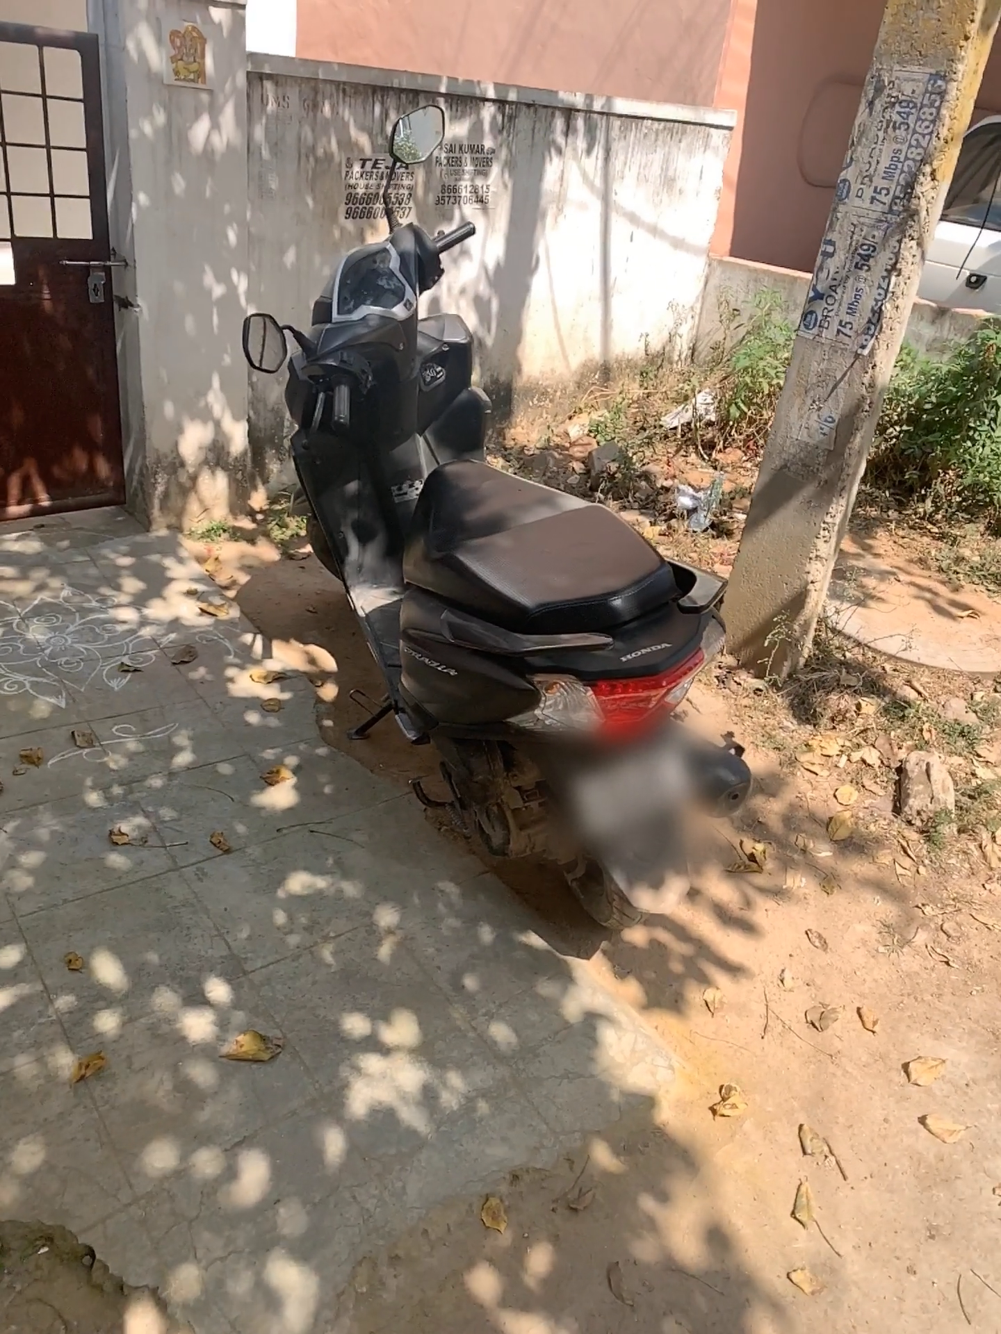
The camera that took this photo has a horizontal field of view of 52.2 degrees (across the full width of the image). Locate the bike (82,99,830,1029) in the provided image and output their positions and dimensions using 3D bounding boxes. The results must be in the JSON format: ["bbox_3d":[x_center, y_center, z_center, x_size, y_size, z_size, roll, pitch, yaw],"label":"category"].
[{"bbox_3d":[-0.277,-0.338,2.096,0.607,1.176,1.514,-12,36,-31],"label":"bike"}]
